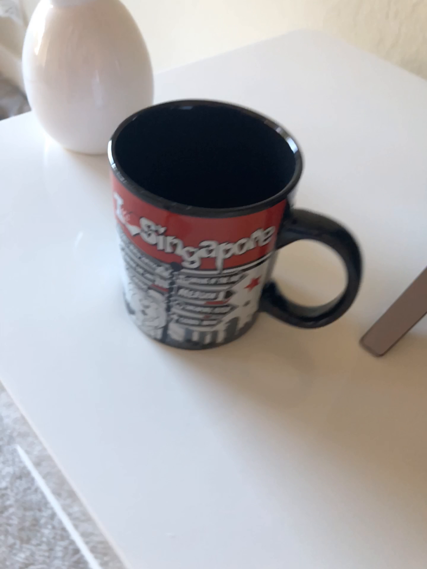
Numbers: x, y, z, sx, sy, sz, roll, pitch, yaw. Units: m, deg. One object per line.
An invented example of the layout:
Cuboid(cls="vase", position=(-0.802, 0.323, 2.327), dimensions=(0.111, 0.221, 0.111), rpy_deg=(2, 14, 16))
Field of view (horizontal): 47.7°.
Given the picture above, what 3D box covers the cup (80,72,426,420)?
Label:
Cuboid(cls="cup", position=(0.015, -0.018, 0.237), dimensions=(0.120, 0.110, 0.080), rpy_deg=(24, 50, 13))
